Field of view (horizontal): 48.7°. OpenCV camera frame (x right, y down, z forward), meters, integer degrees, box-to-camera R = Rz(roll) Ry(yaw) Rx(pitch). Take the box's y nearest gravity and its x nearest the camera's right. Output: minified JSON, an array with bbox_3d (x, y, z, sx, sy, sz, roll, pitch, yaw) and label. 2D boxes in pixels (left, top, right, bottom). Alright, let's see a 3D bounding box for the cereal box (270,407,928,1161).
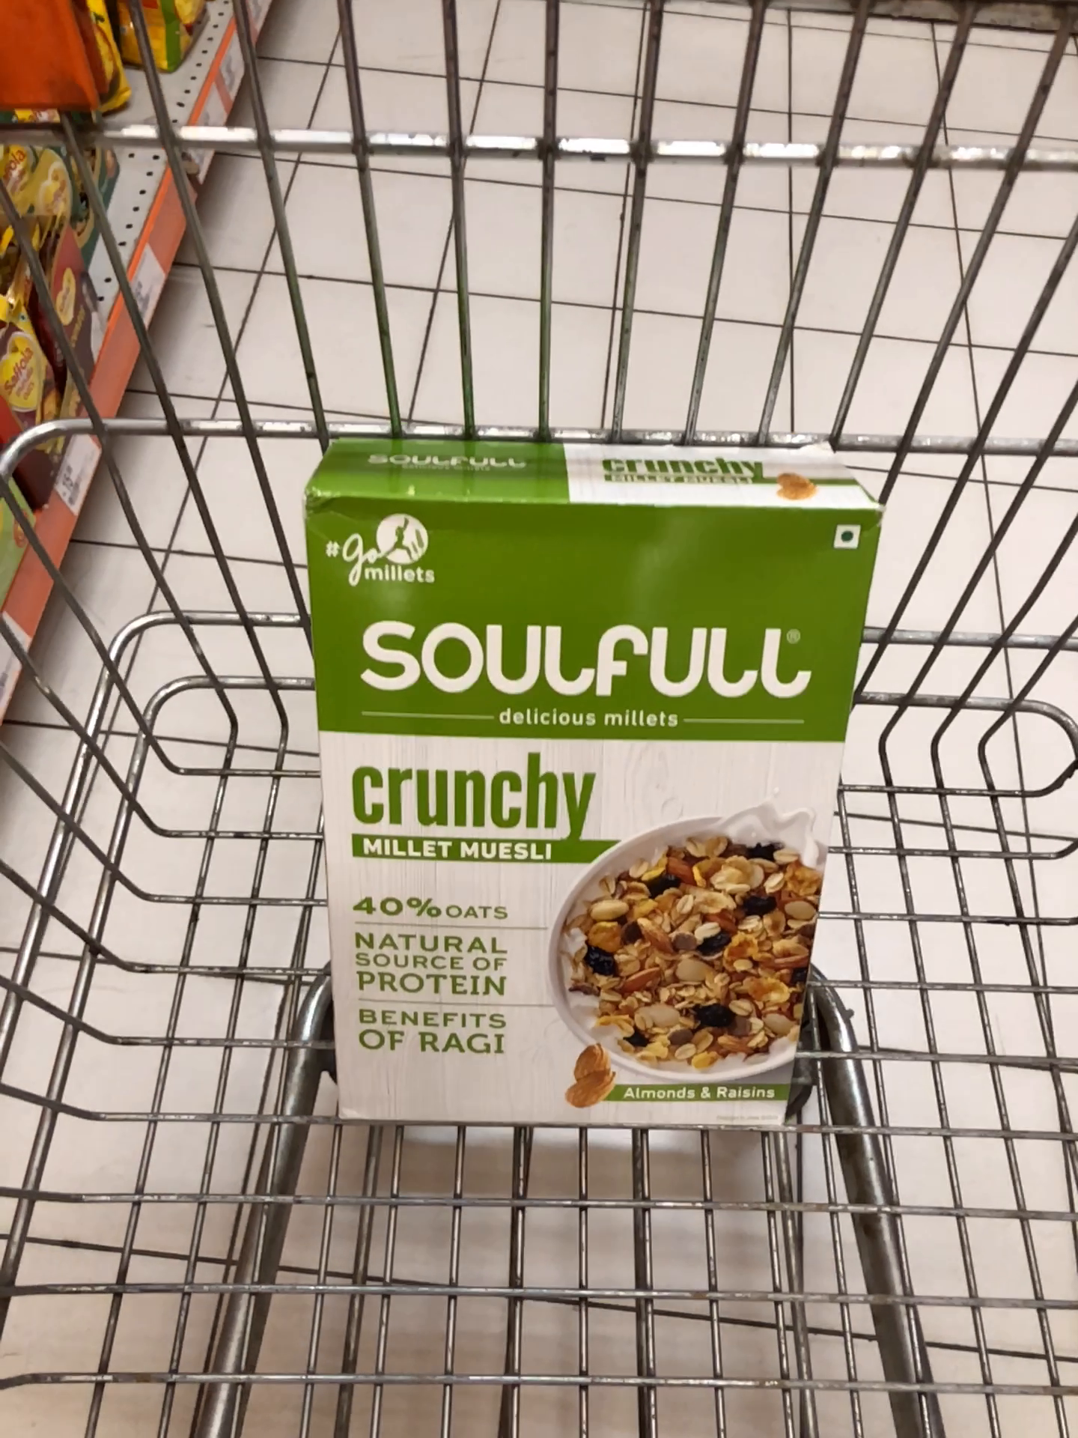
[{"bbox_3d":[0.012,0.029,0.391,0.170,0.239,0.070,1,26,-1],"label":"cereal box"}]
